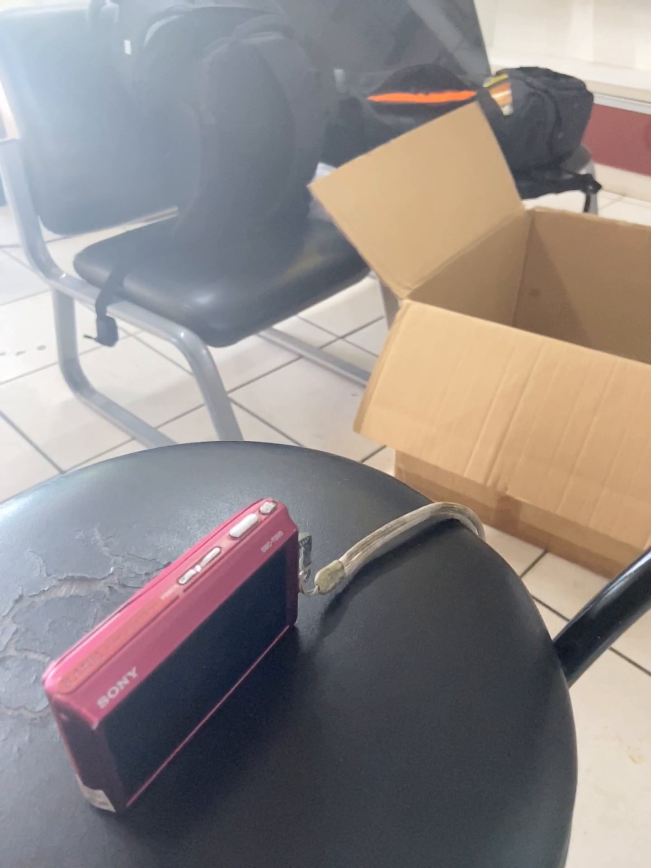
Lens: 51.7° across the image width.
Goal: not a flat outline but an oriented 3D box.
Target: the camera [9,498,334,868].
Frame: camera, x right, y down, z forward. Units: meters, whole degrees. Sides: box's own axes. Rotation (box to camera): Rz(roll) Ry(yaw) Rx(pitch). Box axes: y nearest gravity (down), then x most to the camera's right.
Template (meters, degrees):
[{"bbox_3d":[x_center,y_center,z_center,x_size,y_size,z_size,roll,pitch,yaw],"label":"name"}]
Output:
[{"bbox_3d":[-0.039,0.076,0.213,0.030,0.060,0.100,23,42,28],"label":"camera"}]
